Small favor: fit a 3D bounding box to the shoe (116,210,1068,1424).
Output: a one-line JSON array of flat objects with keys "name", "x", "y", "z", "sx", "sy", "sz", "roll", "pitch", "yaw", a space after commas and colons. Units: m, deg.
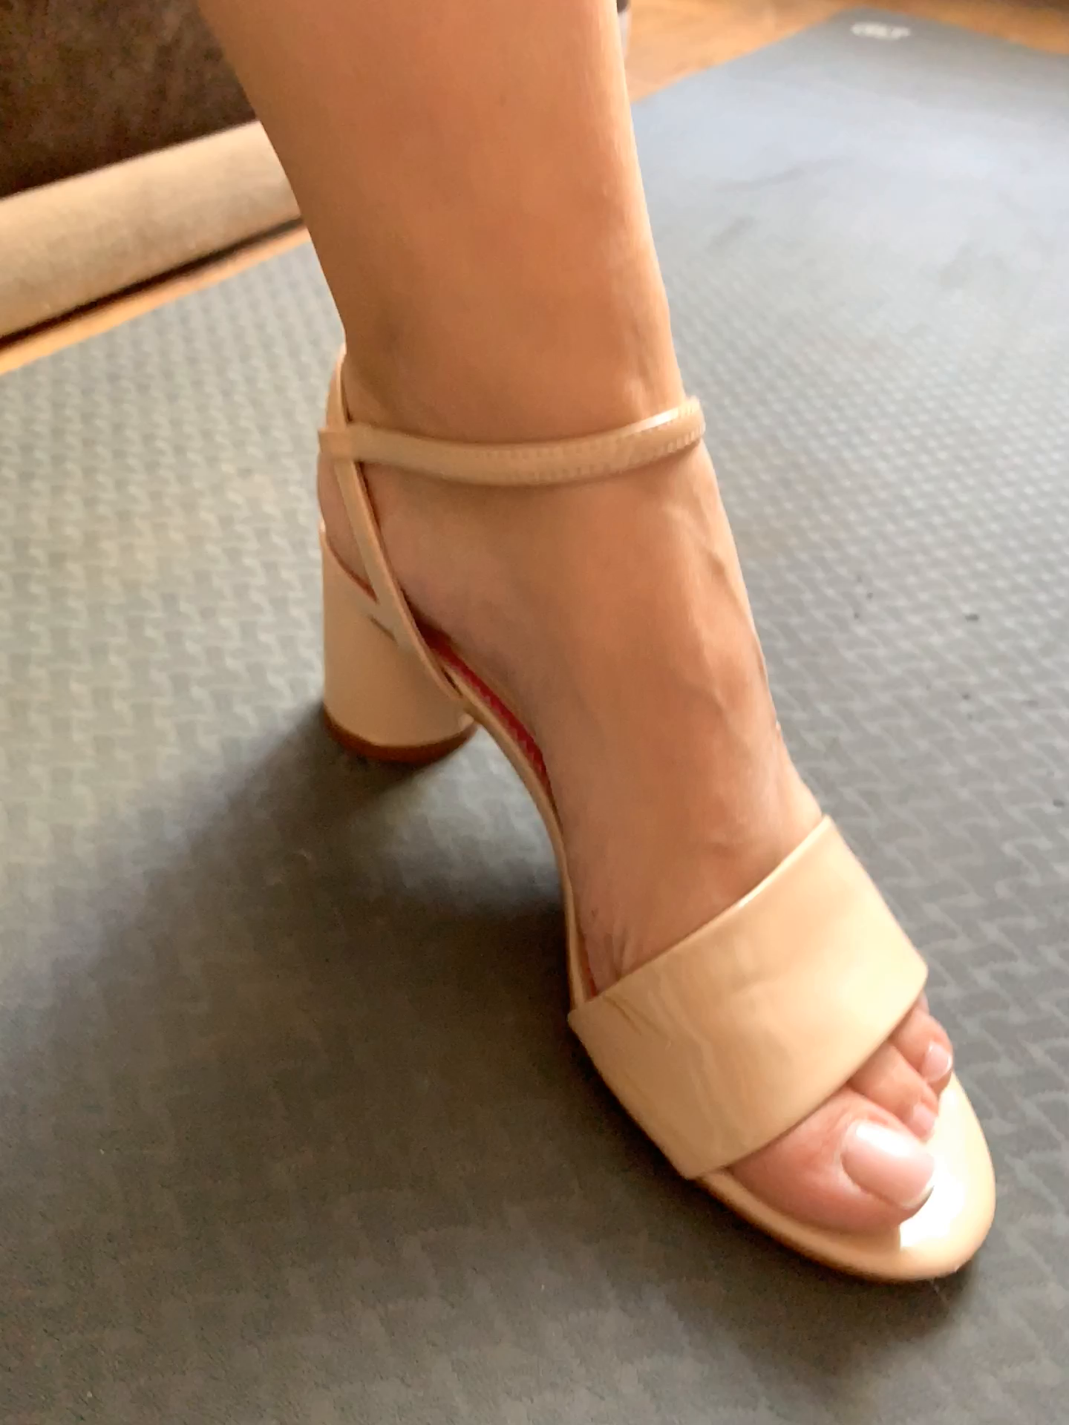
[{"name": "shoe", "x": 0.017, "y": -0.002, "z": 0.240, "sx": 0.090, "sy": 0.119, "sz": 0.251, "roll": -26, "pitch": 50, "yaw": -32}]
